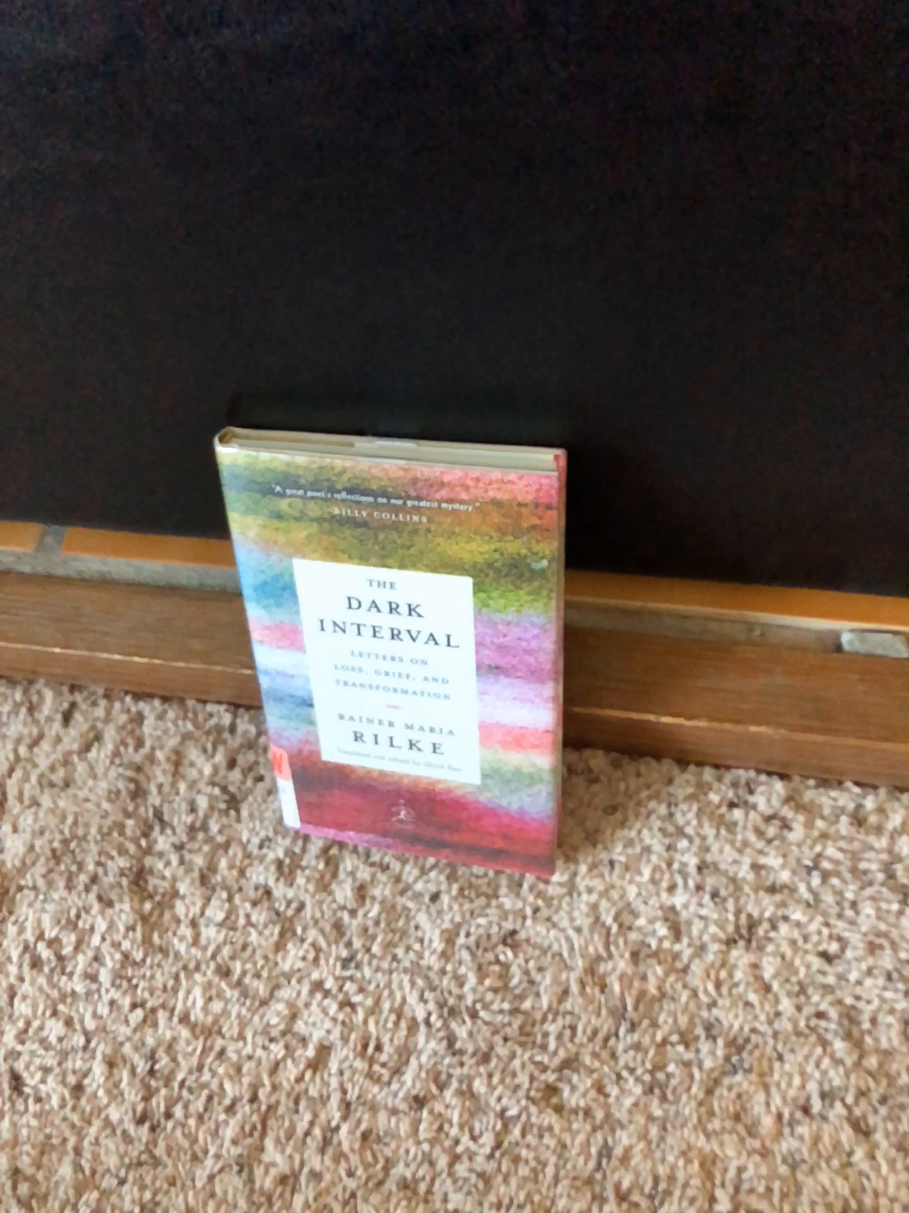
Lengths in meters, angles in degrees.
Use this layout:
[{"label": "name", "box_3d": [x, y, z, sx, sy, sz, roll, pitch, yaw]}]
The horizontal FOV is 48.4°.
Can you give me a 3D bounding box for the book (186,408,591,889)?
[{"label": "book", "box_3d": [-0.021, 0.022, 0.397, 0.135, 0.190, 0.030, 7, 34, 13]}]
